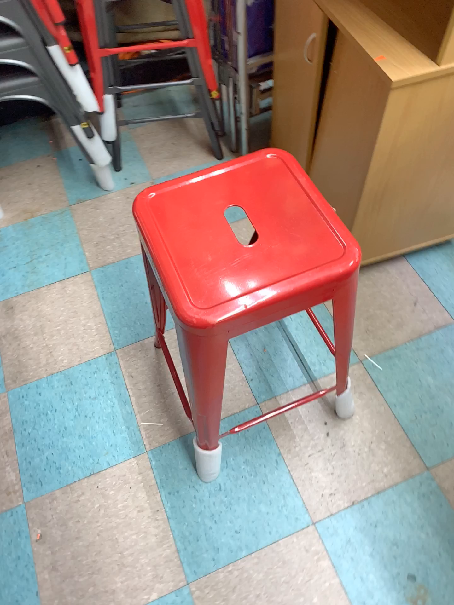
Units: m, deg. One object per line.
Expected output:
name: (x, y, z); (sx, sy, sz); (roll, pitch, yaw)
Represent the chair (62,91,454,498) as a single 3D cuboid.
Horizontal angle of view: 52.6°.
chair: (0.039, 0.033, 0.910); (0.438, 0.599, 0.435); (-21, 60, -9)
